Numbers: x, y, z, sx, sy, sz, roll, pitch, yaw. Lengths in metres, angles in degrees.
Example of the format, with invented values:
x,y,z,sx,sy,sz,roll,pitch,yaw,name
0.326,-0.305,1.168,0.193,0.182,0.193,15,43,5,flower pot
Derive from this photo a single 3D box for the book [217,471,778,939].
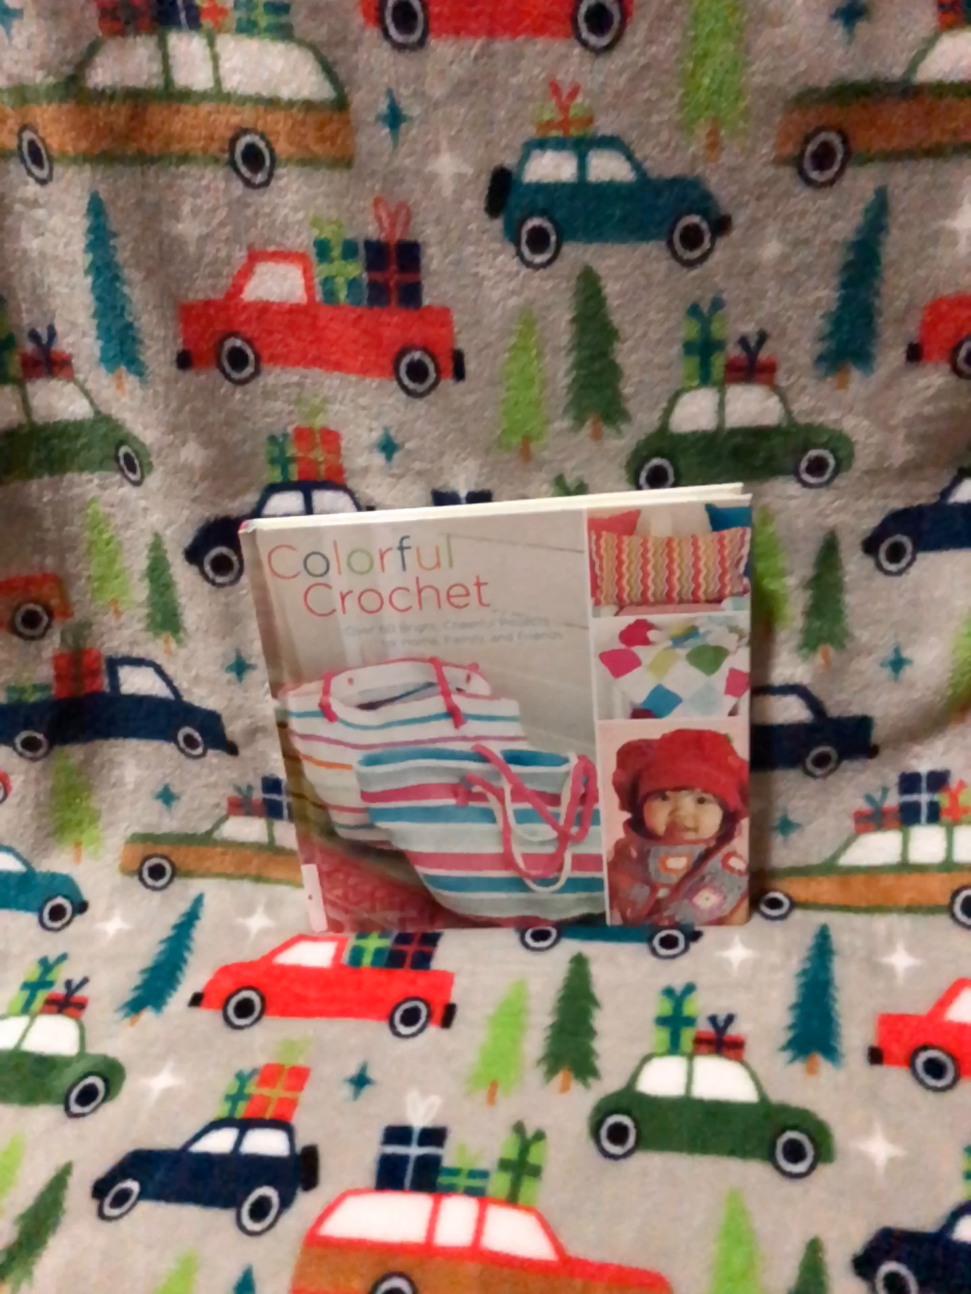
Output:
x,y,z,sx,sy,sz,roll,pitch,yaw,name
0.012,0.036,0.451,0.202,0.214,0.020,-3,32,5,book
